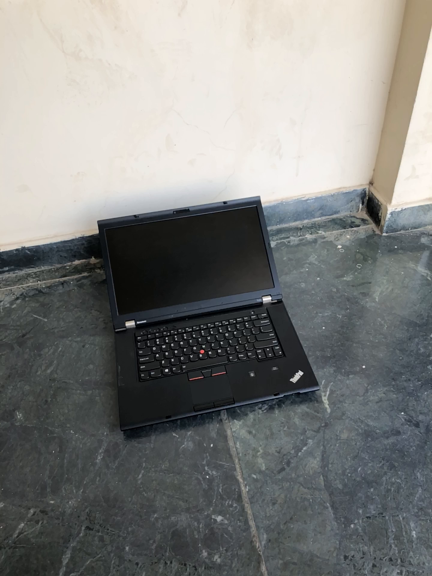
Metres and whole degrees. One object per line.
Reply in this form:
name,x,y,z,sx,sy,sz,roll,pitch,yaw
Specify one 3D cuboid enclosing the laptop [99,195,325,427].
laptop,-0.031,0.013,0.830,0.311,0.115,0.377,-10,45,-7
